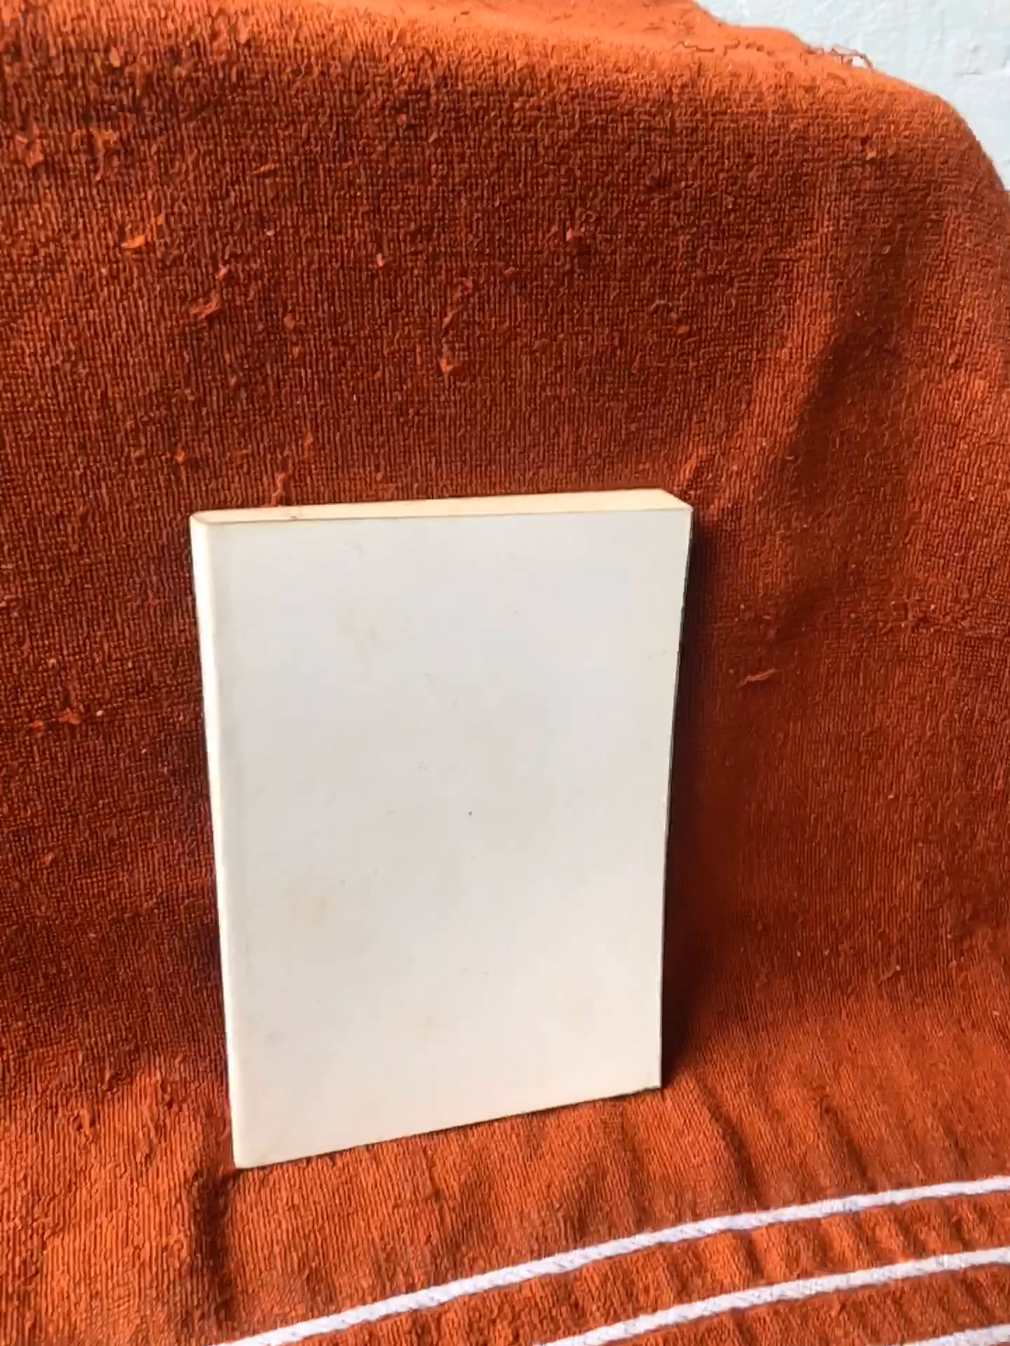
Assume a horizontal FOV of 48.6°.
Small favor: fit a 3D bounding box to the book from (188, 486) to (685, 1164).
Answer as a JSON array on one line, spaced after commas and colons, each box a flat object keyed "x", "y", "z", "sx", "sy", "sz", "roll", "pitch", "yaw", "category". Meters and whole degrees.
[{"x": -0.018, "y": 0.042, "z": 0.358, "sx": 0.150, "sy": 0.200, "sz": 0.030, "roll": -3, "pitch": 8, "yaw": -18, "category": "book"}]
